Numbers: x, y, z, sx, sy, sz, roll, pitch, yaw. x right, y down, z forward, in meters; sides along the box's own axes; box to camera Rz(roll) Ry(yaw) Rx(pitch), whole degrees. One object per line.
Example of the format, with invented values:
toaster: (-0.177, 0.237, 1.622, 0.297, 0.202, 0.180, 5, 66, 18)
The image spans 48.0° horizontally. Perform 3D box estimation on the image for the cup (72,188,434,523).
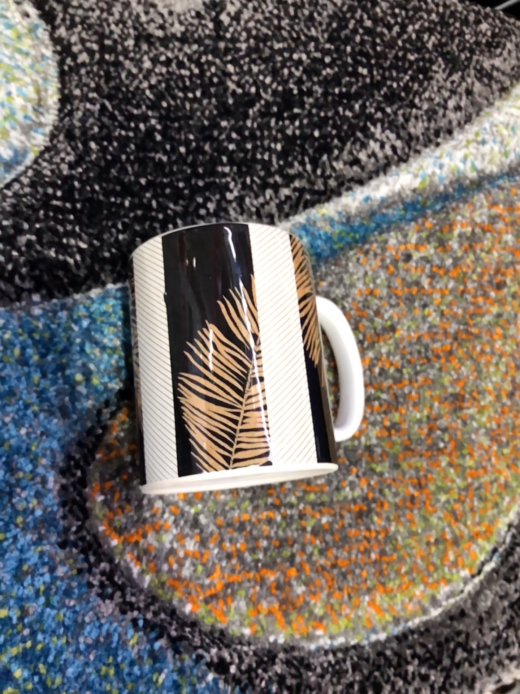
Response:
cup: (-0.002, 0.011, 0.239, 0.120, 0.070, 0.100, 6, 71, -41)
